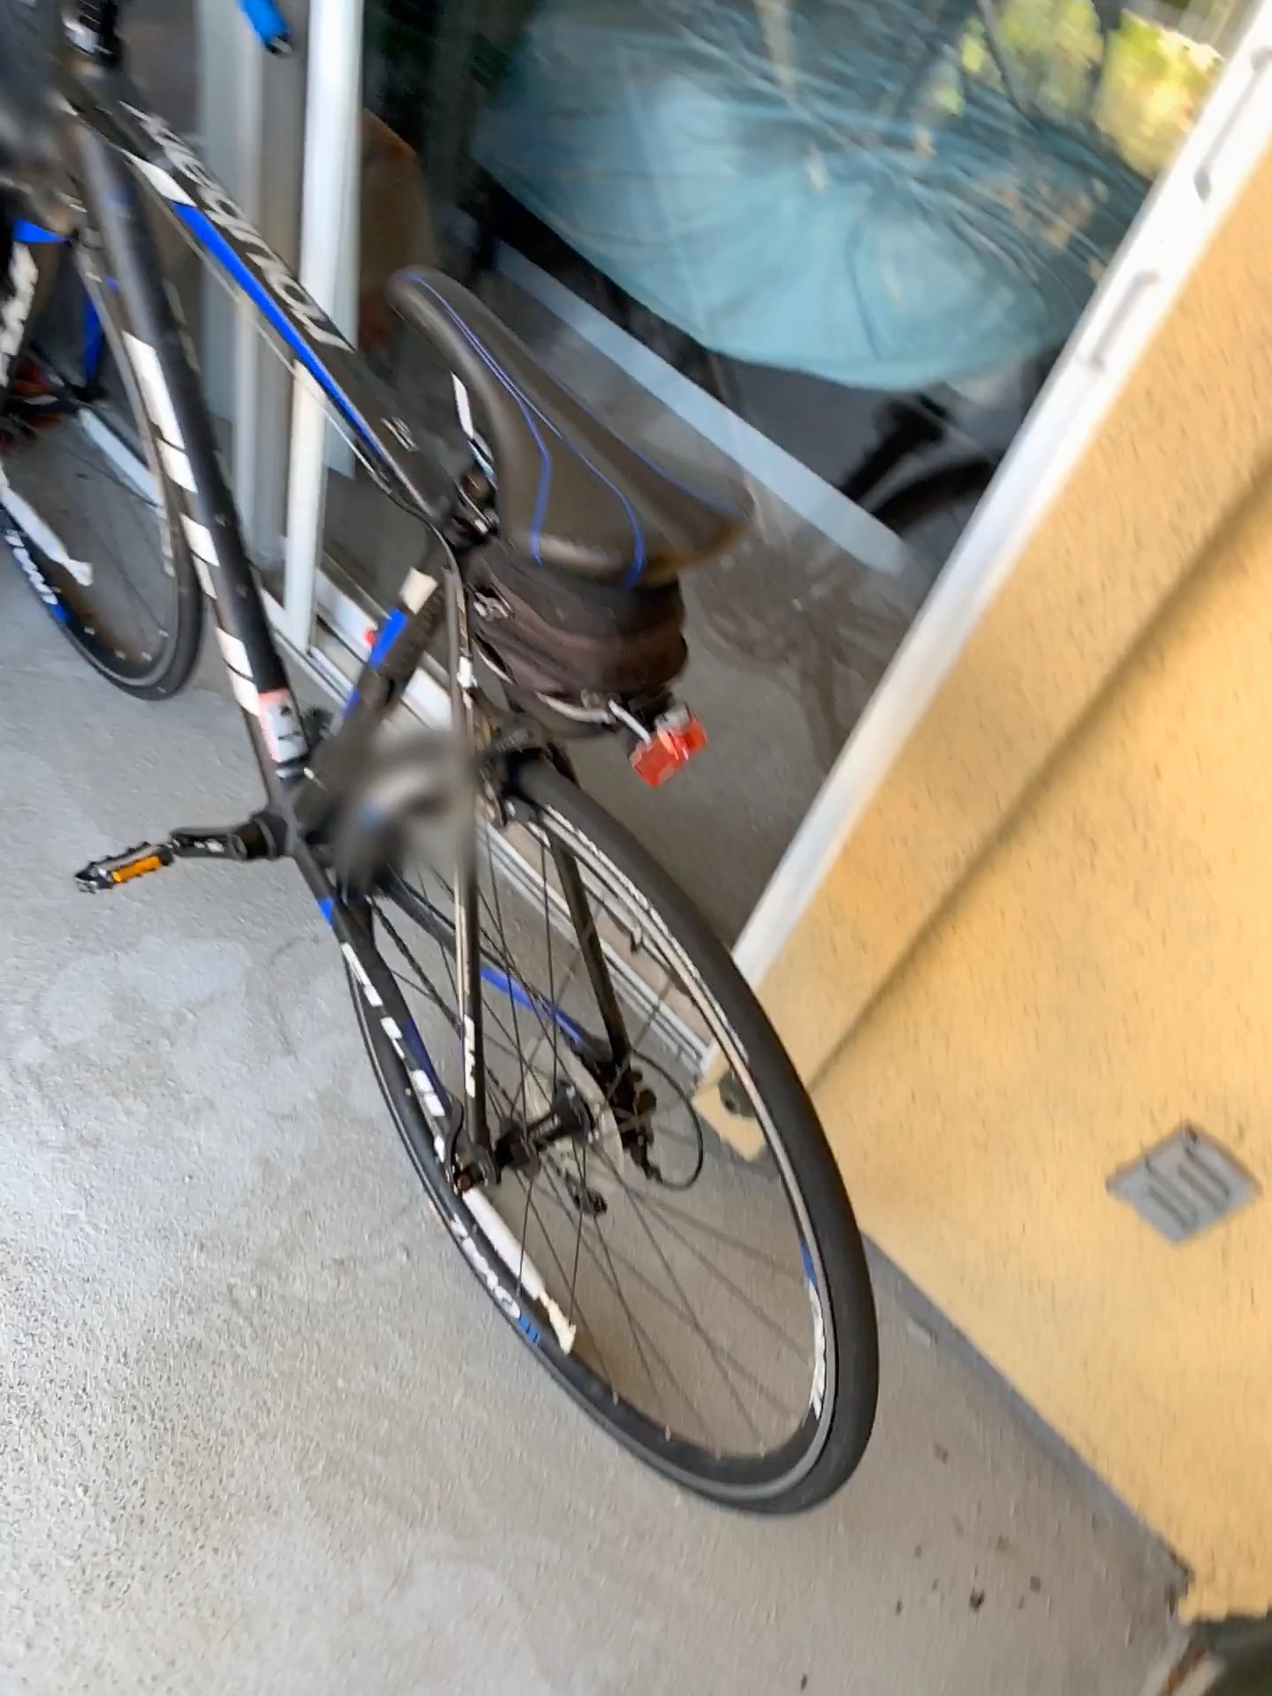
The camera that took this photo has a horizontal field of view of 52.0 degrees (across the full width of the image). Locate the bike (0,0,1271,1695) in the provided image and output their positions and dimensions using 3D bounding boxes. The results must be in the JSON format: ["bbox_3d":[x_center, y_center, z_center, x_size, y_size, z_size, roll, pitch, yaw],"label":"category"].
[{"bbox_3d":[-0.269,-0.208,1.041,0.363,0.933,1.504,-27,69,-32],"label":"bike"}]

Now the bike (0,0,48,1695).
[{"bbox_3d":[-1.291,-0.343,0.821,0.622,0.972,1.588,37,51,12],"label":"bike"}]
